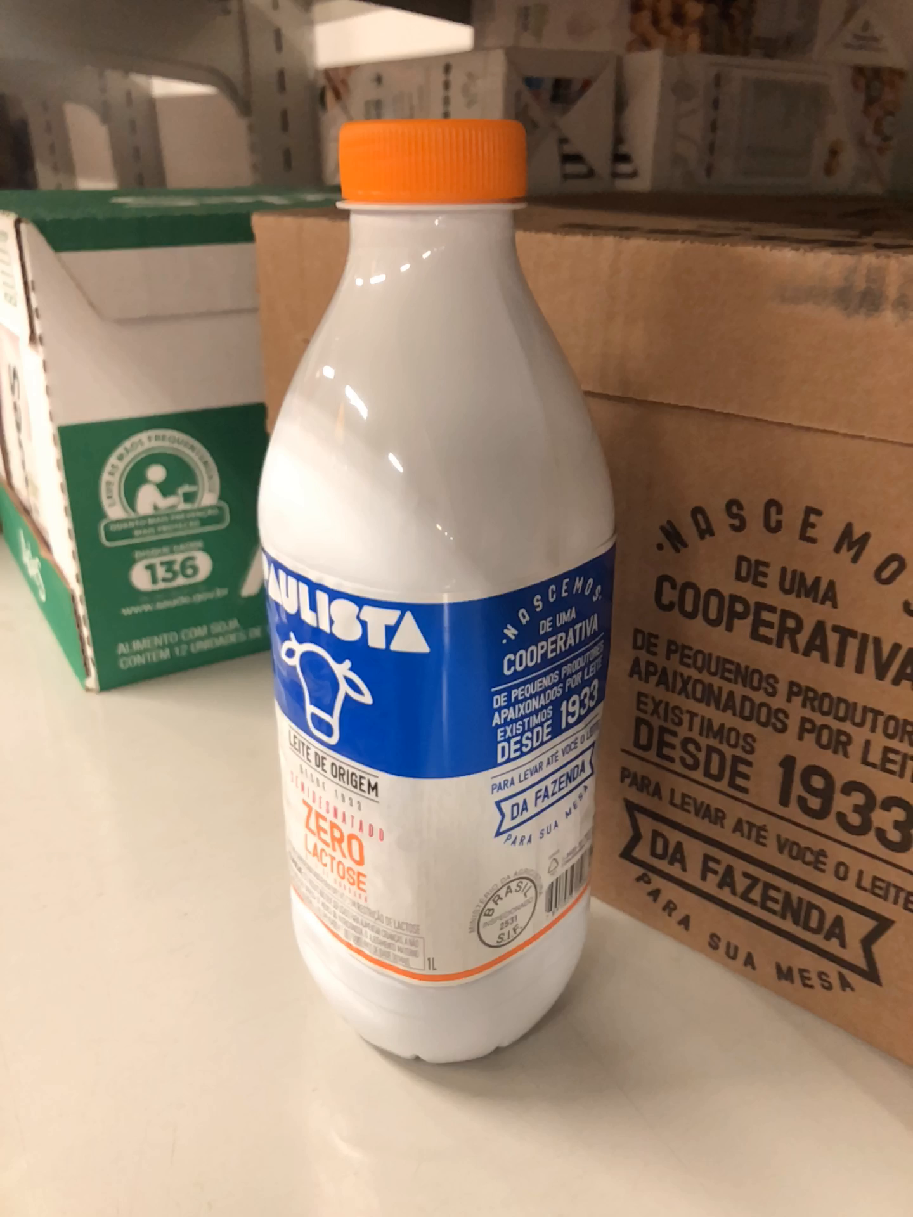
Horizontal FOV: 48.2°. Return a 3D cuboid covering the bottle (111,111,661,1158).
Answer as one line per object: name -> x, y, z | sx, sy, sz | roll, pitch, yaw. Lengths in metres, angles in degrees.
bottle -> -0.014, 0.005, 0.254 | 0.080, 0.228, 0.080 | -1, 23, 0
